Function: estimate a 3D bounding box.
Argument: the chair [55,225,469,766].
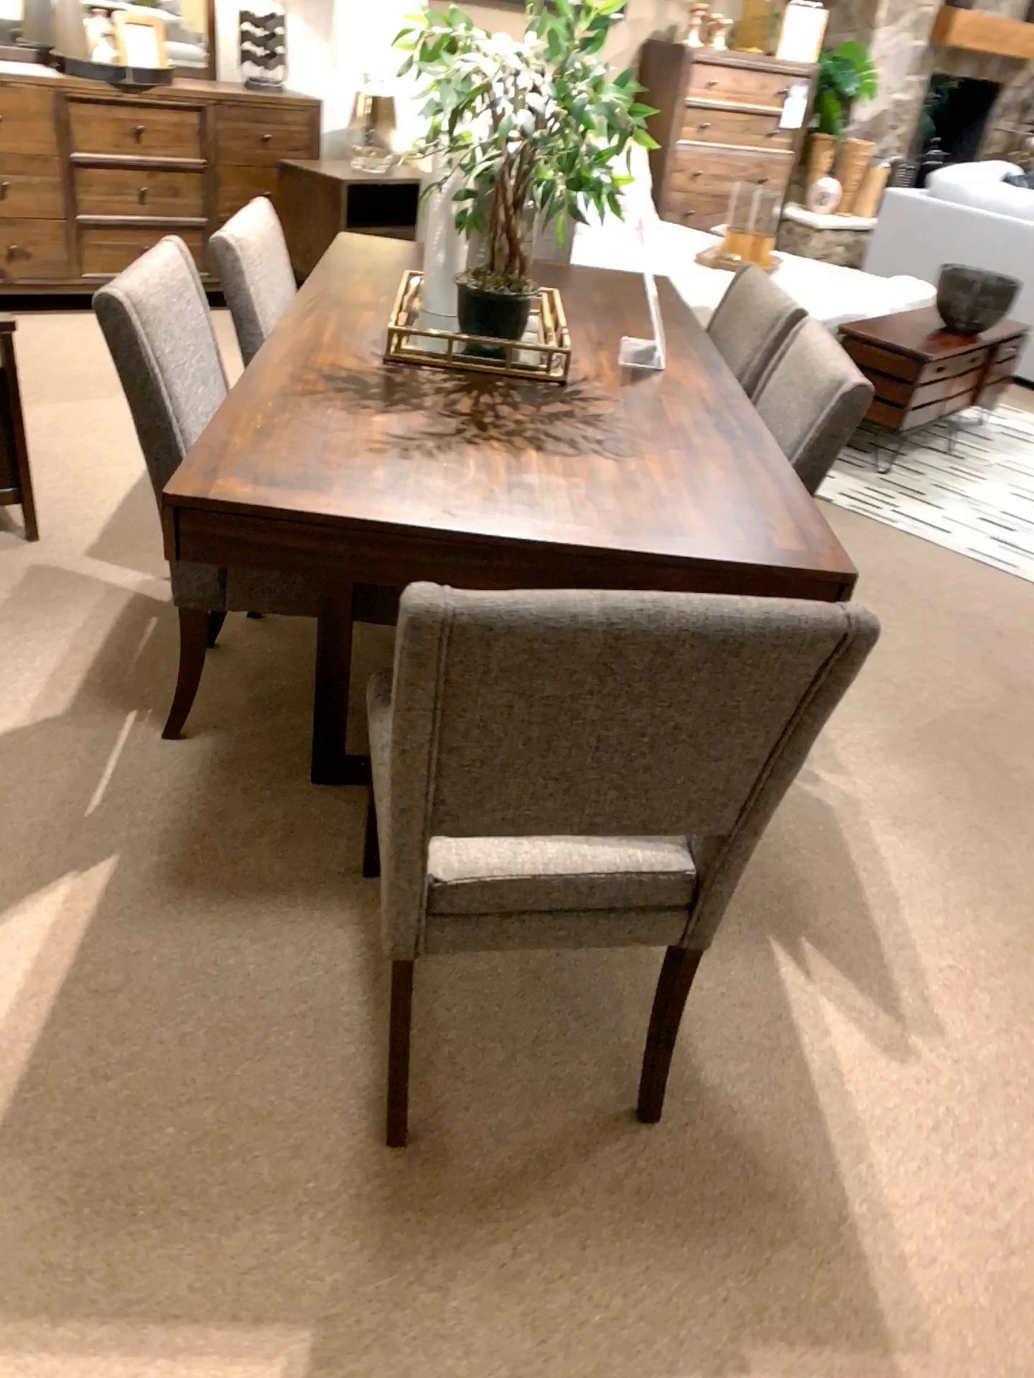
[{"bbox_3d":[-0.456,-0.363,2.054,0.630,0.863,0.482,5,33,-6],"label":"chair"}]

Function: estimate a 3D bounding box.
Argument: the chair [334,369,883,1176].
[{"bbox_3d":[0.010,0.107,1.442,0.479,0.863,0.633,2,33,-12],"label":"chair"}]
